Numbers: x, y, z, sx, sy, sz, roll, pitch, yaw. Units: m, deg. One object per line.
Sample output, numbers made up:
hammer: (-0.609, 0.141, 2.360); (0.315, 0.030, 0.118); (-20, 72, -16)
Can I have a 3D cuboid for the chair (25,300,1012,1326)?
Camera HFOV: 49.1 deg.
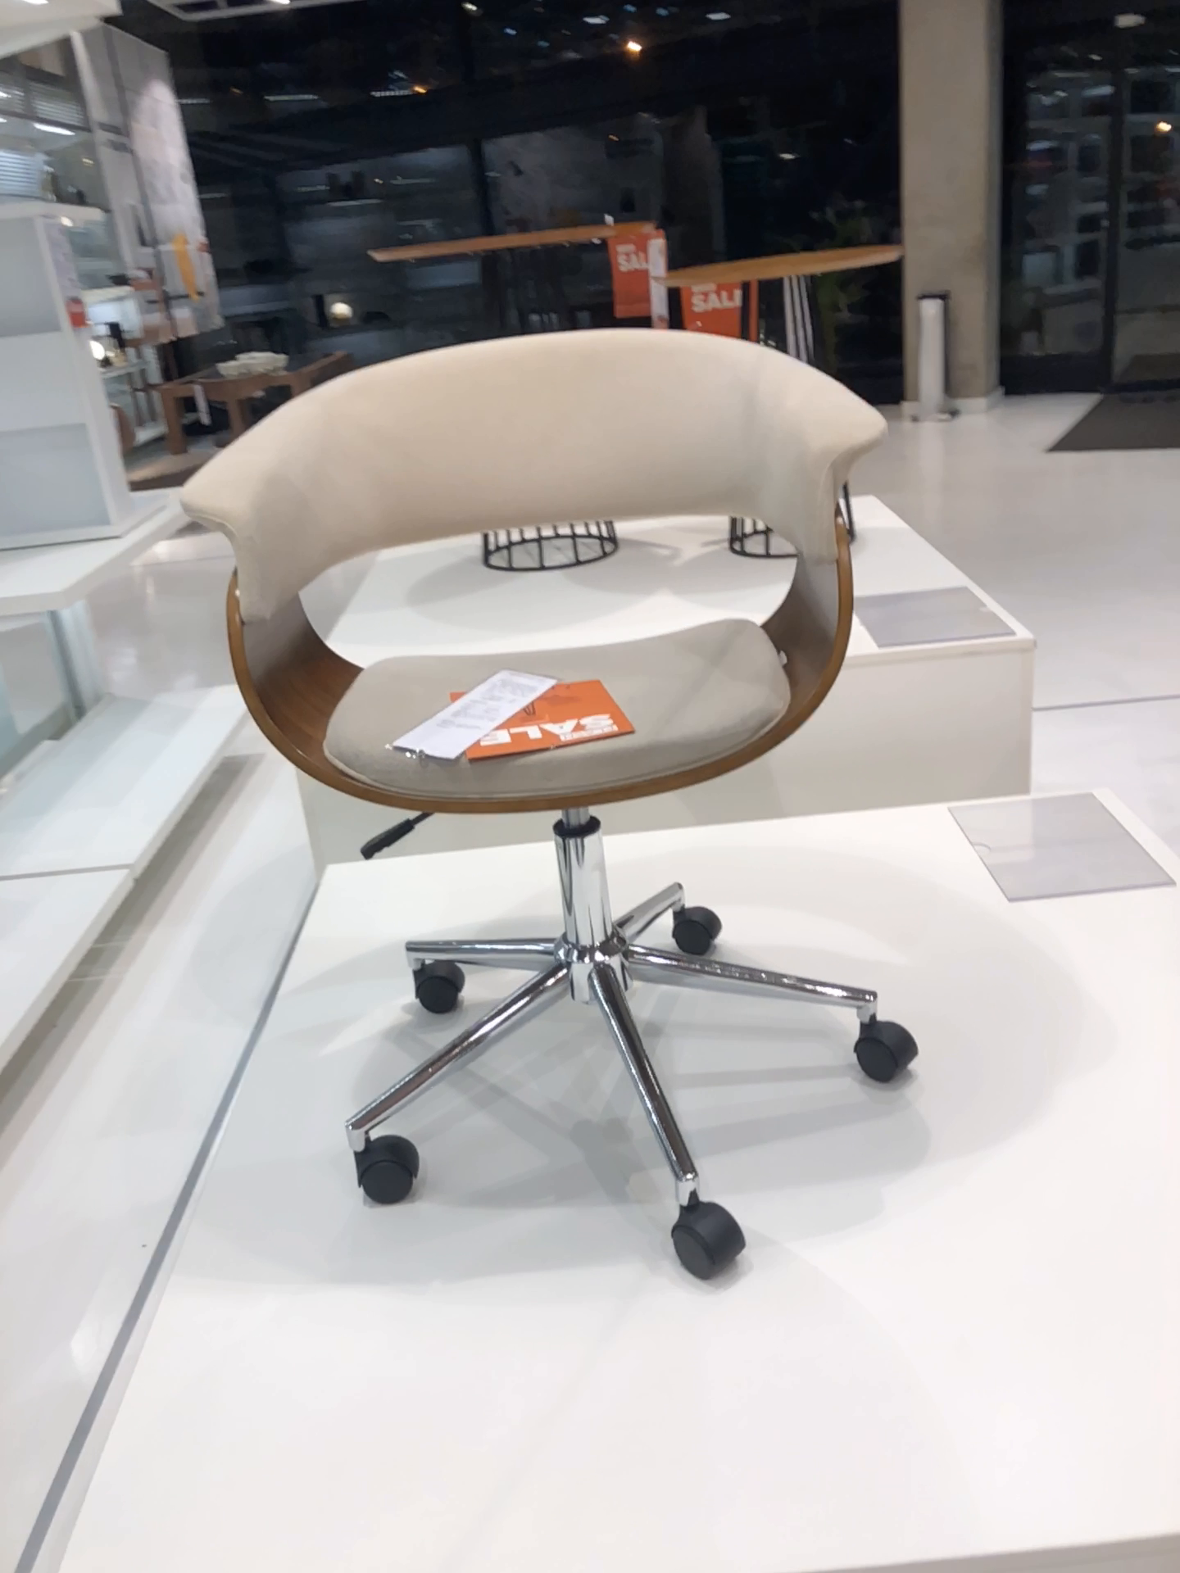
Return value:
chair: (-0.017, -0.044, 1.264); (0.630, 0.725, 0.675); (-6, 22, 1)
